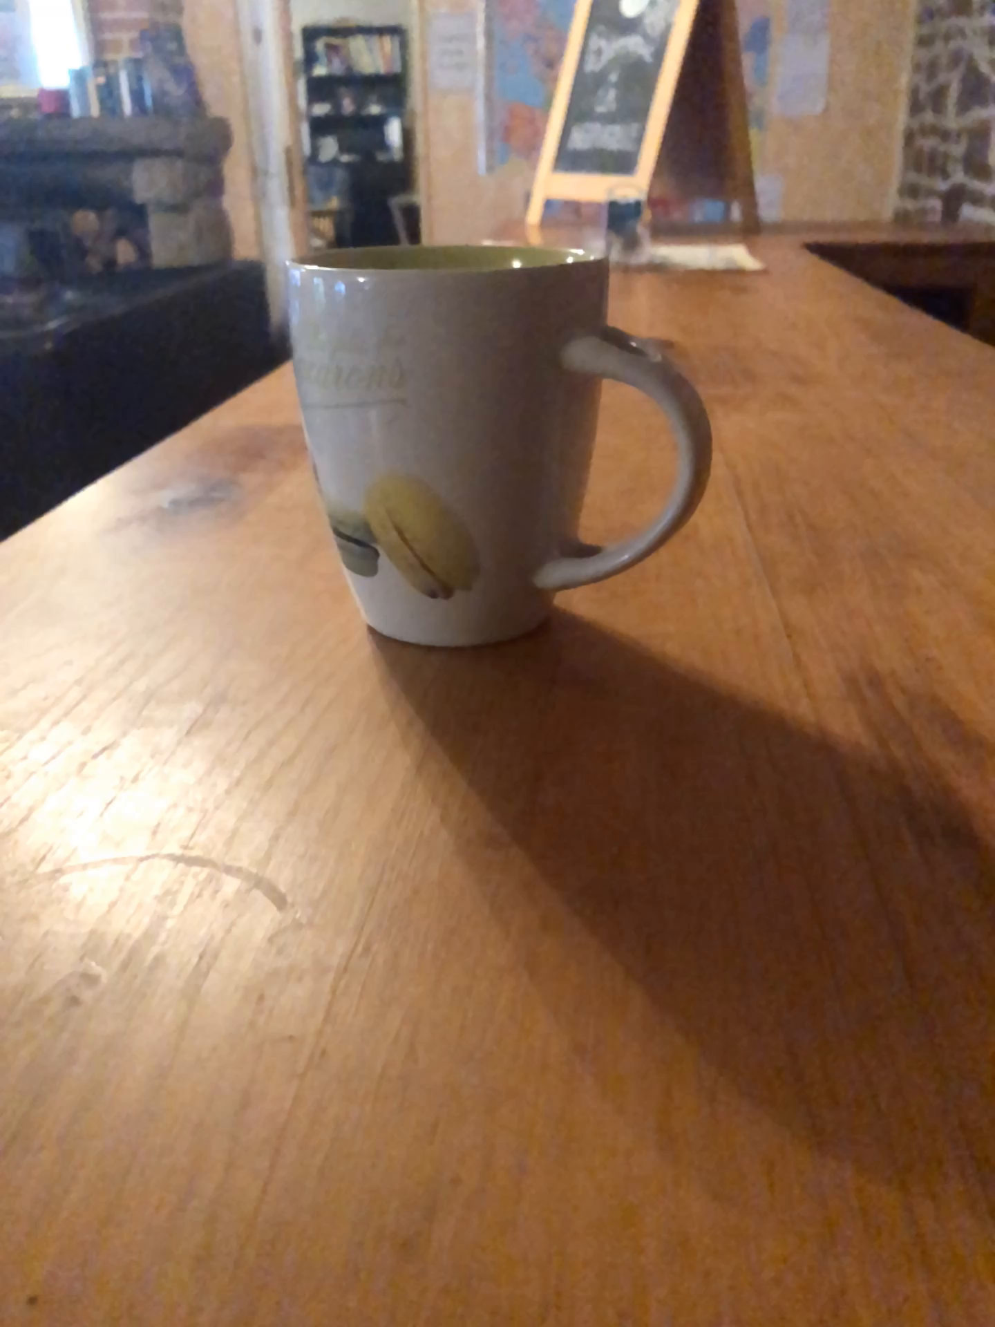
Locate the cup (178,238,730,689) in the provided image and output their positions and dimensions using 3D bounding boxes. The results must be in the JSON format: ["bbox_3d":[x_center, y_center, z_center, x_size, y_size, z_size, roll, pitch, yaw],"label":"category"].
[{"bbox_3d":[-0.007,-0.067,0.323,0.120,0.099,0.098,10,27,23],"label":"cup"}]
